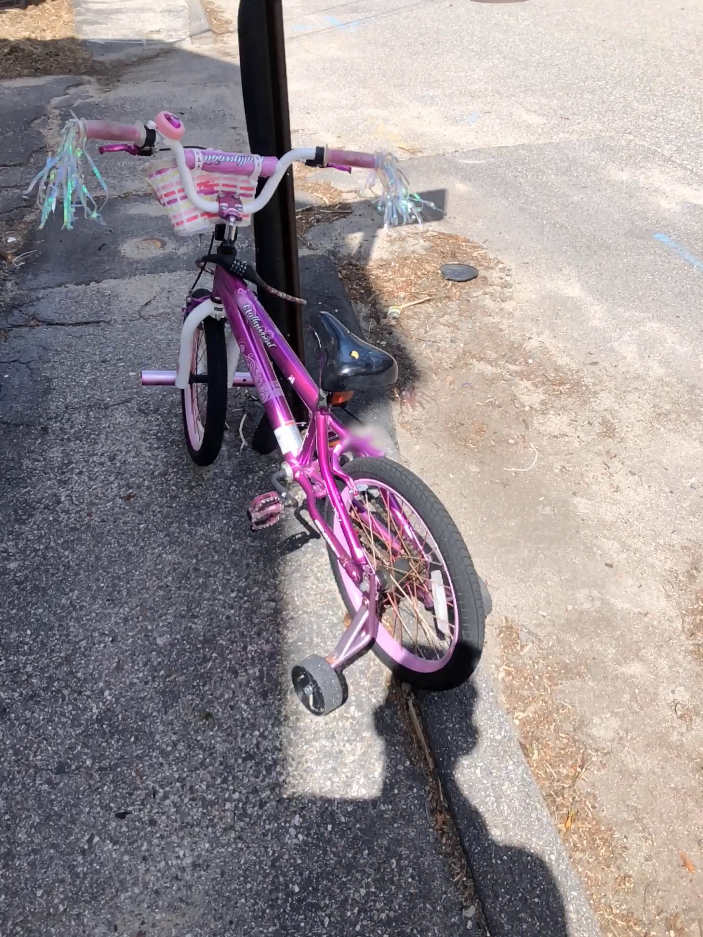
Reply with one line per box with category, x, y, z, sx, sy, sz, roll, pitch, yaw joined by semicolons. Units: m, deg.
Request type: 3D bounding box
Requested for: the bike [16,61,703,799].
bike;-0.104;-0.211;1.558;0.615;0.869;1.230;-21;42;-24
